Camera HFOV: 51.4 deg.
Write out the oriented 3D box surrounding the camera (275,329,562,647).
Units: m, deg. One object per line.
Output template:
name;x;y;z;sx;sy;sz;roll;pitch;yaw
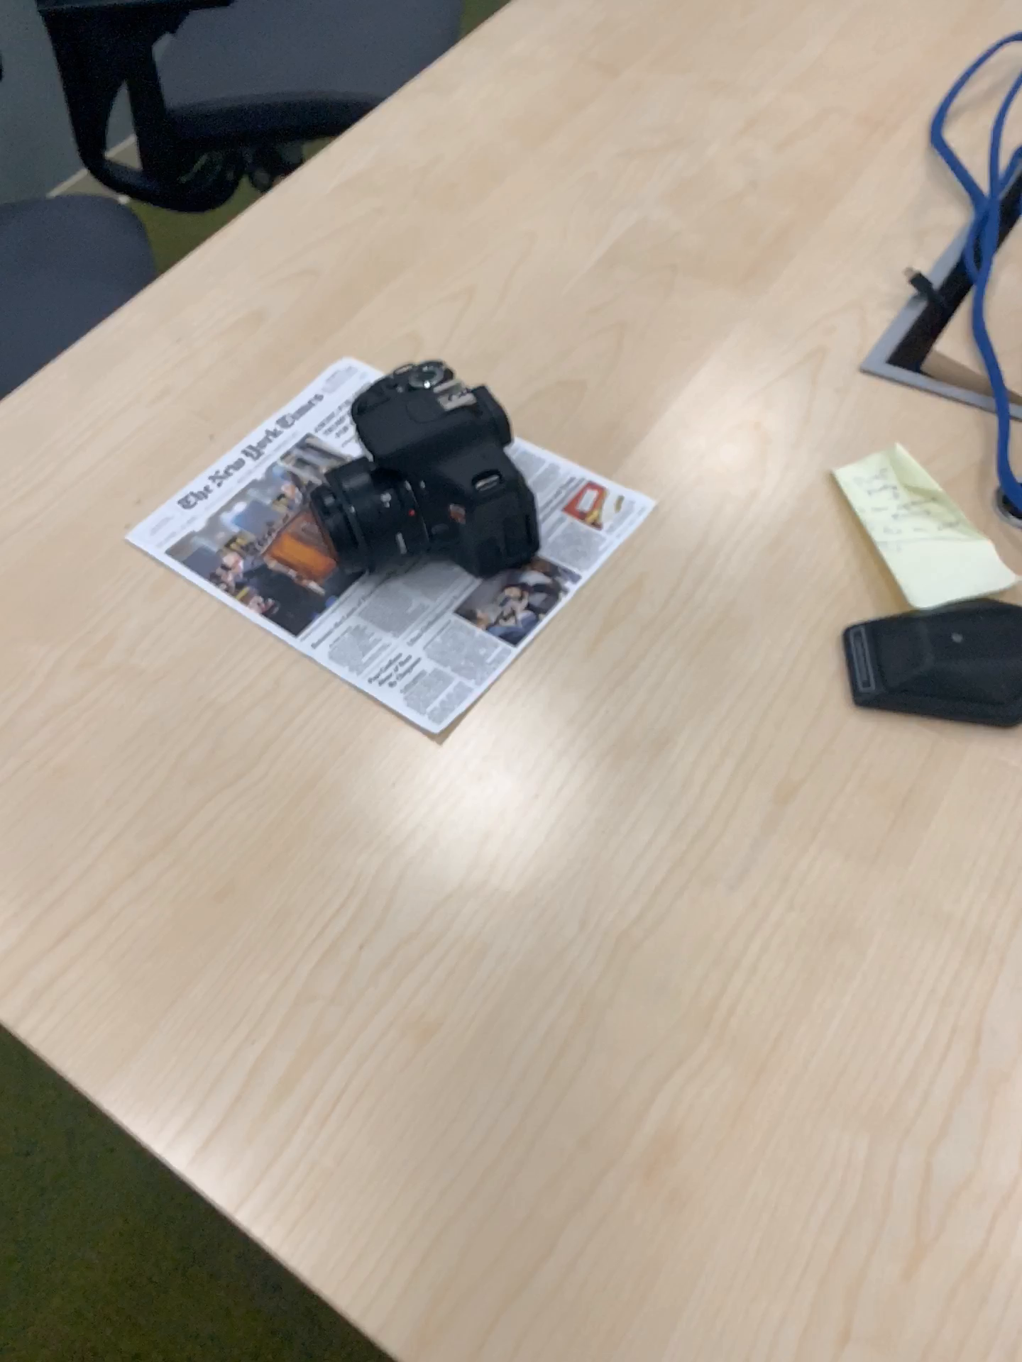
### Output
camera;-0.054;-0.117;0.641;0.121;0.100;0.125;-23;55;-9
